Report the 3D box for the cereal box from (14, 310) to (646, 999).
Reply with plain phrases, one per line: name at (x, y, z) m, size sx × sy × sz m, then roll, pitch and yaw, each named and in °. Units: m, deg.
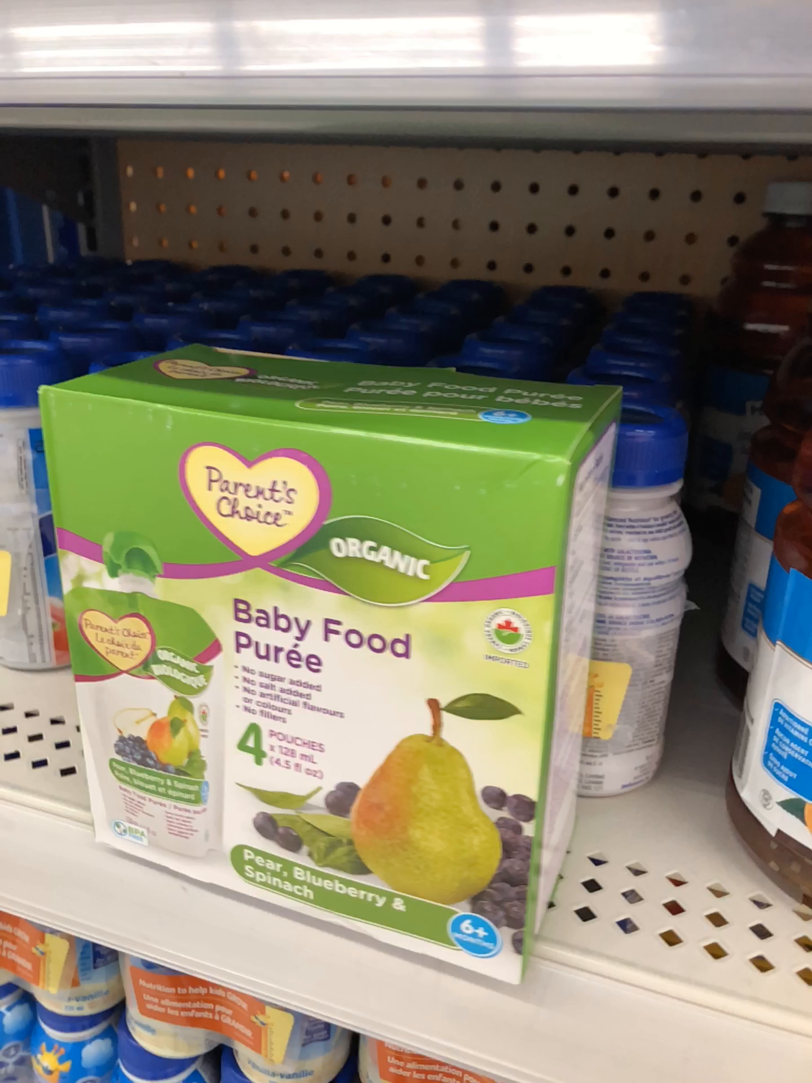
cereal box at (-0.019, 0.023, 0.280) m, size 0.150 × 0.159 × 0.091 m, roll 10°, pitch 24°, yaw 18°
